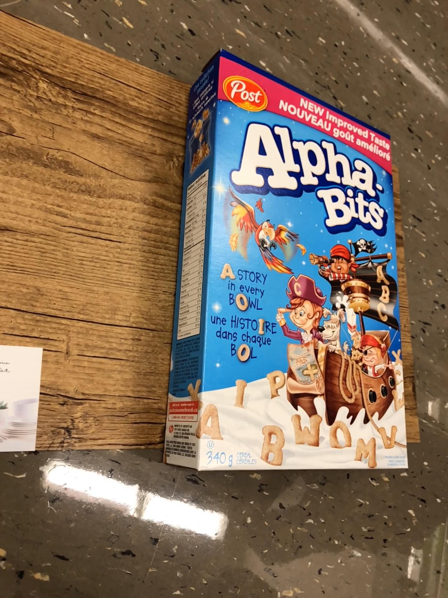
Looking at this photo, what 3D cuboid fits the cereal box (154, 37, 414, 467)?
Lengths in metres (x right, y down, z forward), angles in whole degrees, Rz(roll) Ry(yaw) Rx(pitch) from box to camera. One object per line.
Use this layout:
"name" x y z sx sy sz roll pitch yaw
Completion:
"cereal box" 0.058 -0.026 0.414 0.201 0.060 0.310 12 73 -30
